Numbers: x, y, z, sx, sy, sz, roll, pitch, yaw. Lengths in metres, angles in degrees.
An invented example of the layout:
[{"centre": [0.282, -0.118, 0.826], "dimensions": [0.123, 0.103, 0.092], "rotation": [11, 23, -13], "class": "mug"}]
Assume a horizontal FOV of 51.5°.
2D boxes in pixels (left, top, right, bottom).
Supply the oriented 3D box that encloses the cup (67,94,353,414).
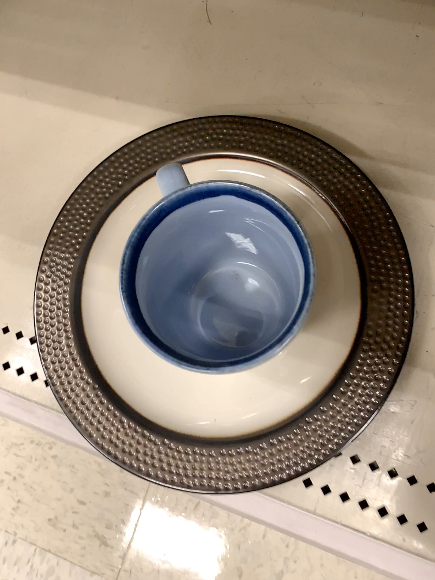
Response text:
[{"centre": [-0.002, -0.012, 0.258], "dimensions": [0.093, 0.094, 0.127], "rotation": [-25, 76, 4], "class": "cup"}]
